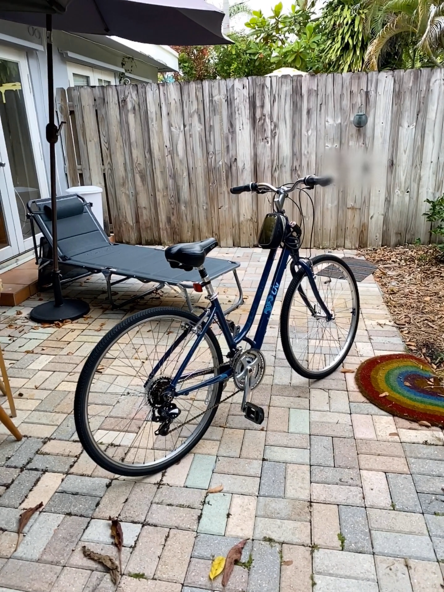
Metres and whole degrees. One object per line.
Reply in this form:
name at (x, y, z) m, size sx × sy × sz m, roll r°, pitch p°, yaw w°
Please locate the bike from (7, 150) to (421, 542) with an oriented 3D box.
bike at (0.124, 0.000, 2.035) m, size 1.692 × 1.067 × 0.596 m, roll -21°, pitch 27°, yaw -37°
